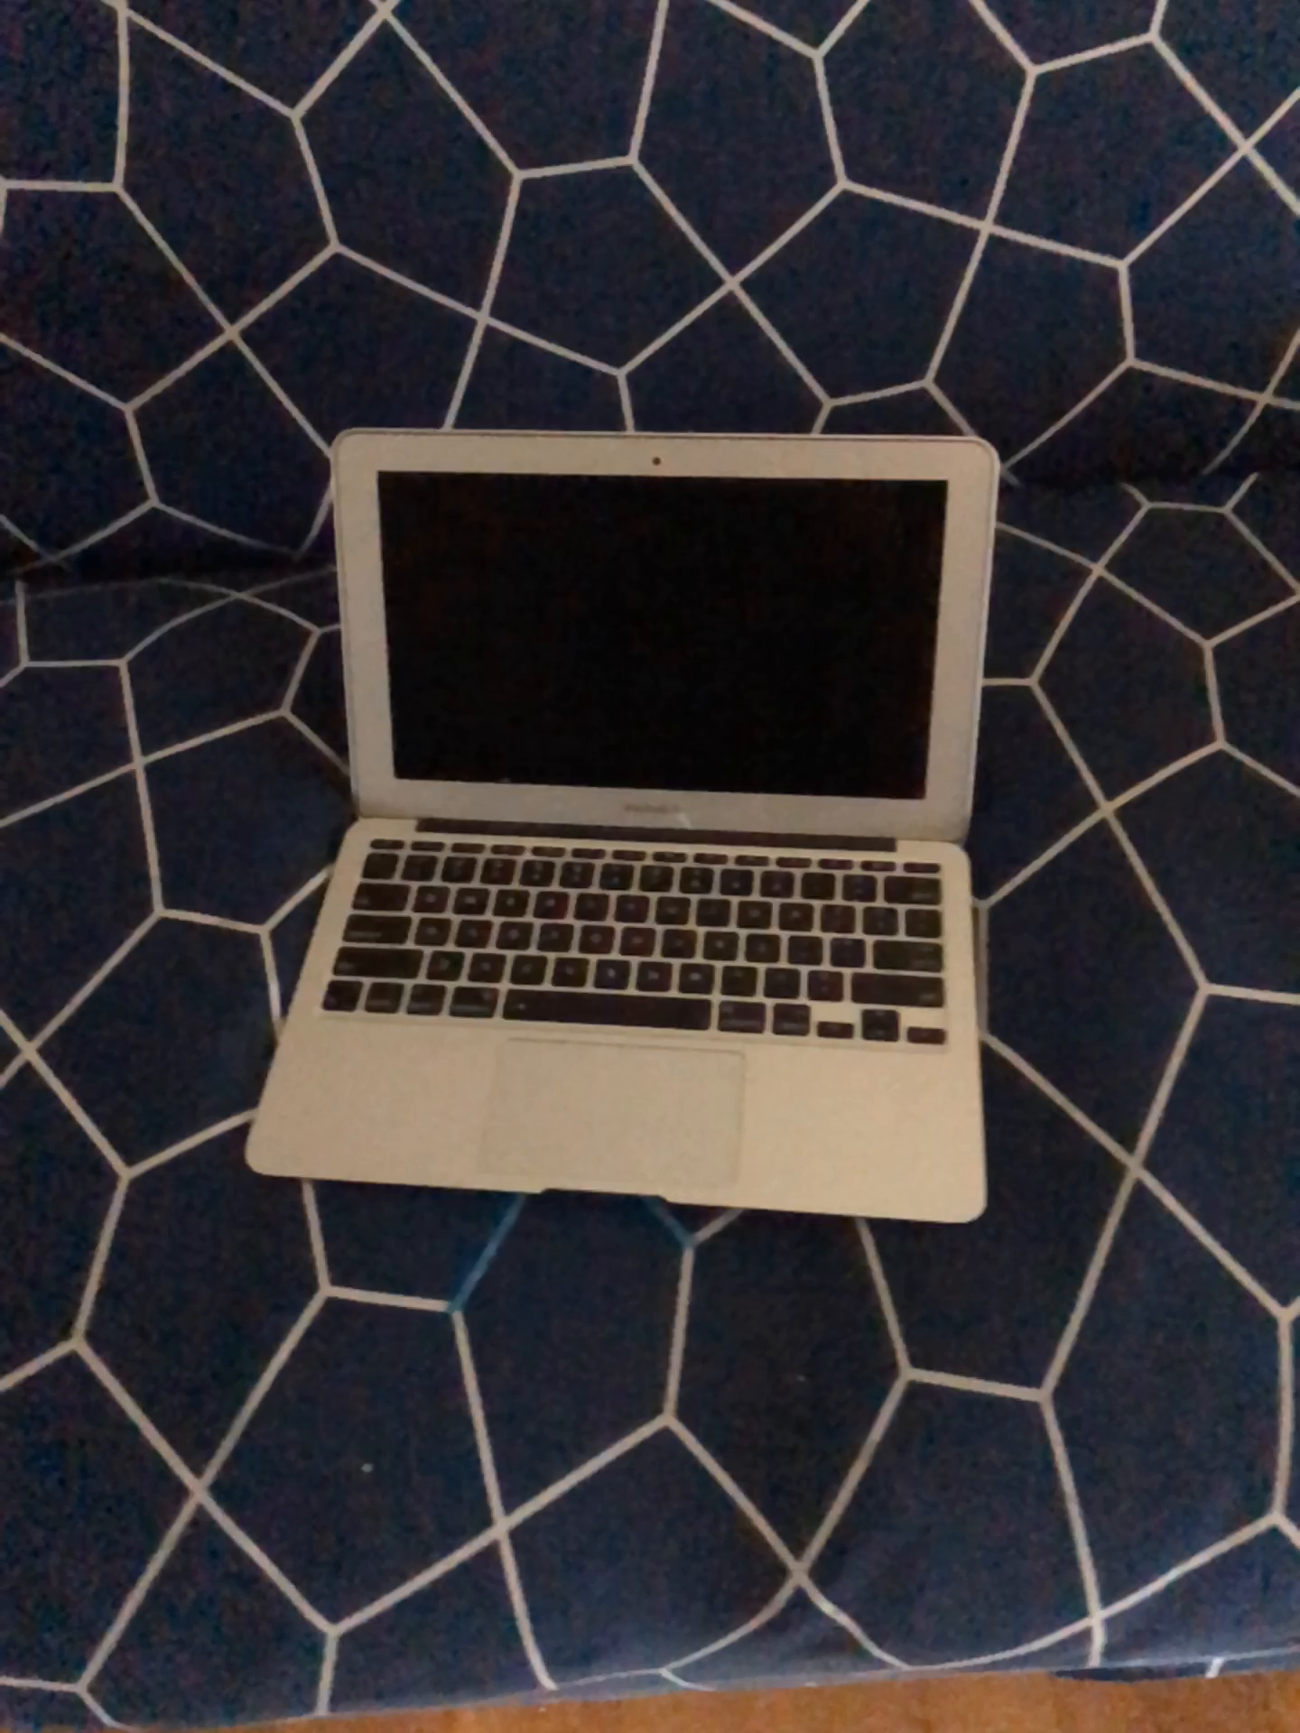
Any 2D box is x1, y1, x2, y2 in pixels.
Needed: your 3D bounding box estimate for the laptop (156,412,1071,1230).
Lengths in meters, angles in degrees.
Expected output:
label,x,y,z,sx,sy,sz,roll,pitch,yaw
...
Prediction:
label,x,y,z,sx,sy,sz,roll,pitch,yaw
laptop,-0.001,-0.032,0.581,0.281,0.156,0.281,3,49,5
